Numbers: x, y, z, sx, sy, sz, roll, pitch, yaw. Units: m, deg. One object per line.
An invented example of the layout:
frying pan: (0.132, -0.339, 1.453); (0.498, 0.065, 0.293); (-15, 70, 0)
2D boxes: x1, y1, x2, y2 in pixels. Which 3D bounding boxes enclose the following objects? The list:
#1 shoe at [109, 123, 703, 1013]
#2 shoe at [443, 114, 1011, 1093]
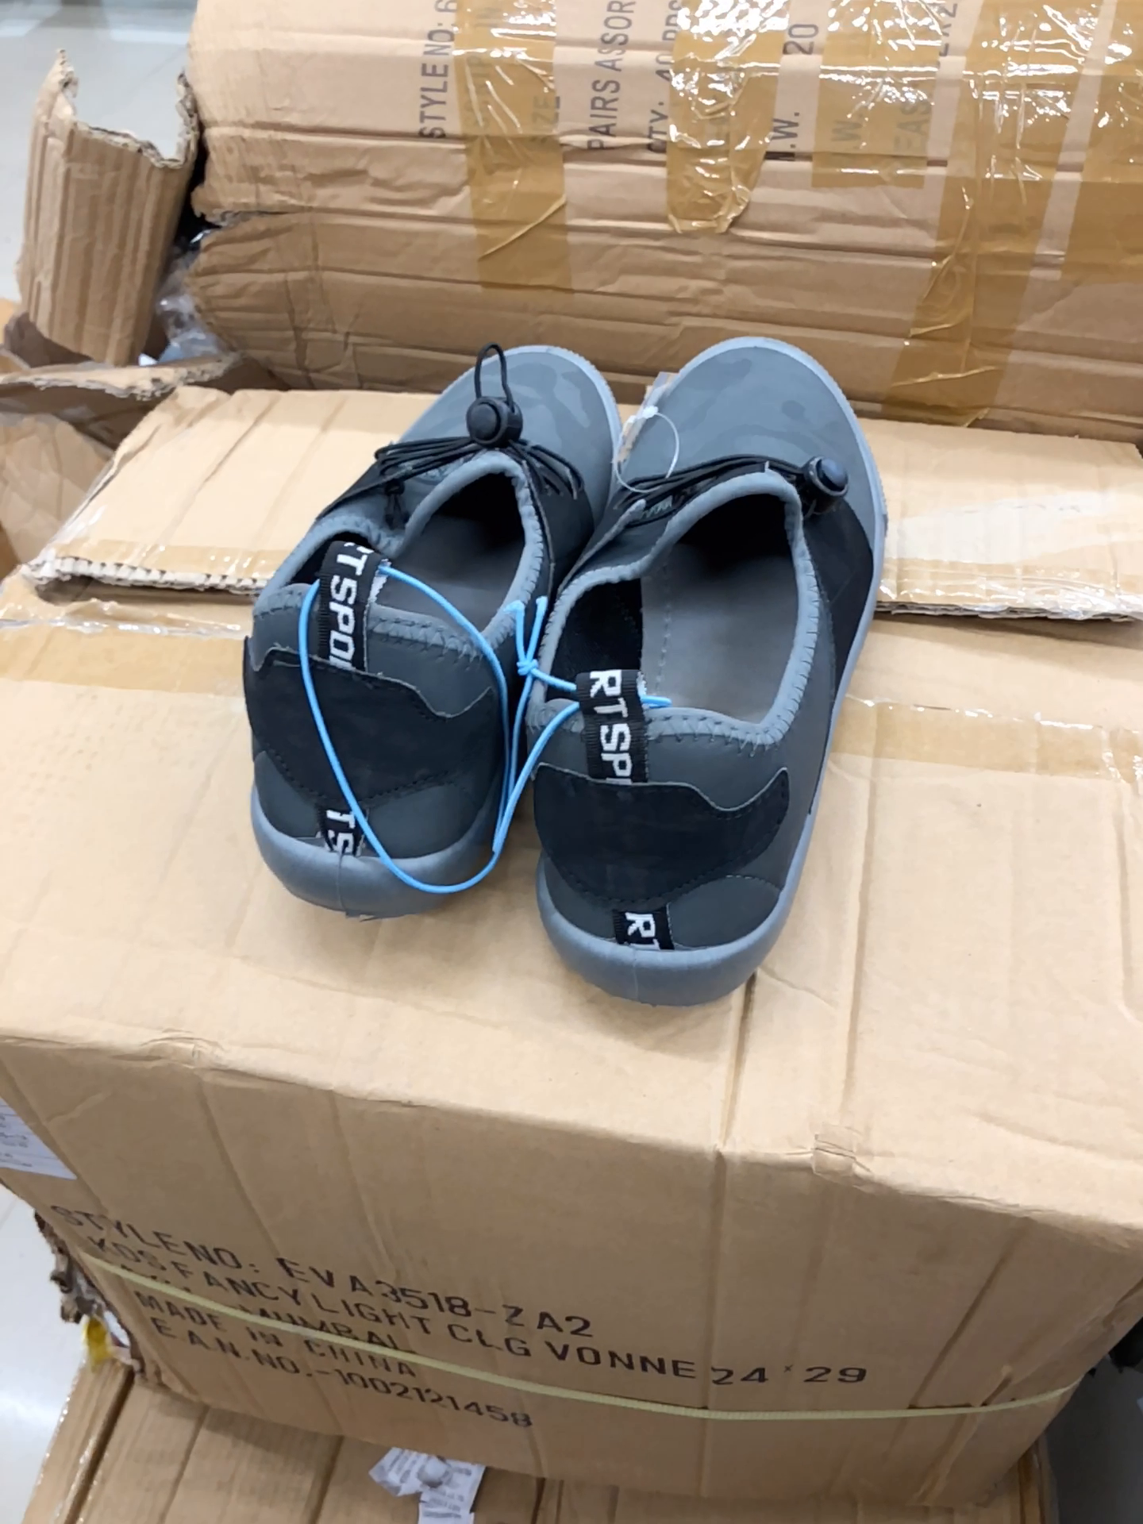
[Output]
shoe: (-0.027, -0.087, 0.450); (0.110, 0.149, 0.302); (6, 48, 9)
shoe: (0.066, -0.073, 0.397); (0.110, 0.129, 0.302); (8, 49, 11)
